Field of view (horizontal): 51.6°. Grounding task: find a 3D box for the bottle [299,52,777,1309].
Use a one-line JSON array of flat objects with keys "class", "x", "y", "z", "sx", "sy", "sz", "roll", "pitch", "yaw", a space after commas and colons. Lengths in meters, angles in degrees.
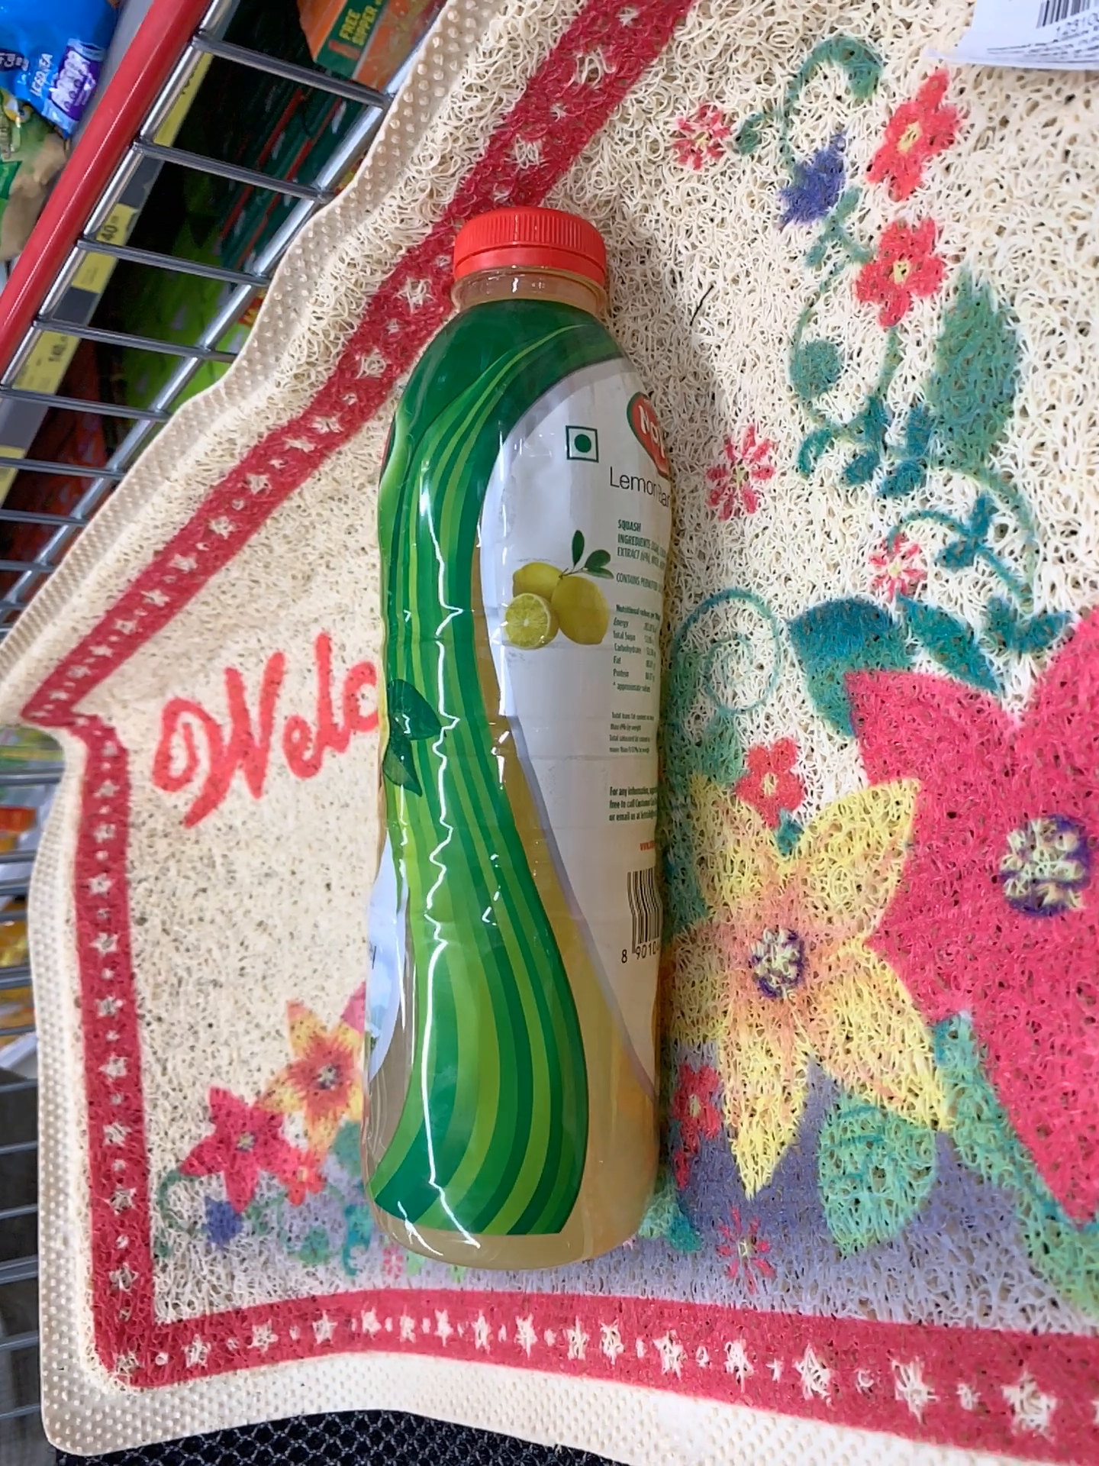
[{"class": "bottle", "x": -0.004, "y": -0.011, "z": 0.289, "sx": 0.080, "sy": 0.090, "sz": 0.270, "roll": 171, "pitch": 103, "yaw": -87}]
